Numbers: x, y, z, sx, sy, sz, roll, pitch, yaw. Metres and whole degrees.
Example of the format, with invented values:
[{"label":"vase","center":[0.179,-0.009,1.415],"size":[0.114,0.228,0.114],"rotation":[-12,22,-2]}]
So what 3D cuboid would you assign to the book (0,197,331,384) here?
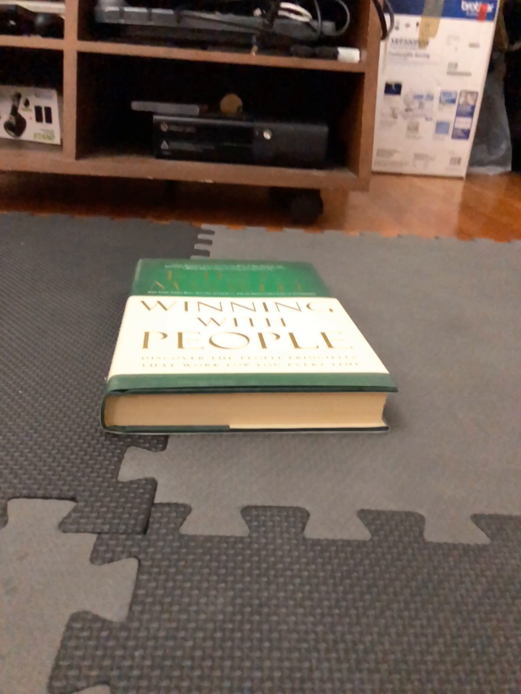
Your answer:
[{"label":"book","center":[-0.081,-0.057,0.387],"size":[0.200,0.030,0.291],"rotation":[1,24,-6]}]
